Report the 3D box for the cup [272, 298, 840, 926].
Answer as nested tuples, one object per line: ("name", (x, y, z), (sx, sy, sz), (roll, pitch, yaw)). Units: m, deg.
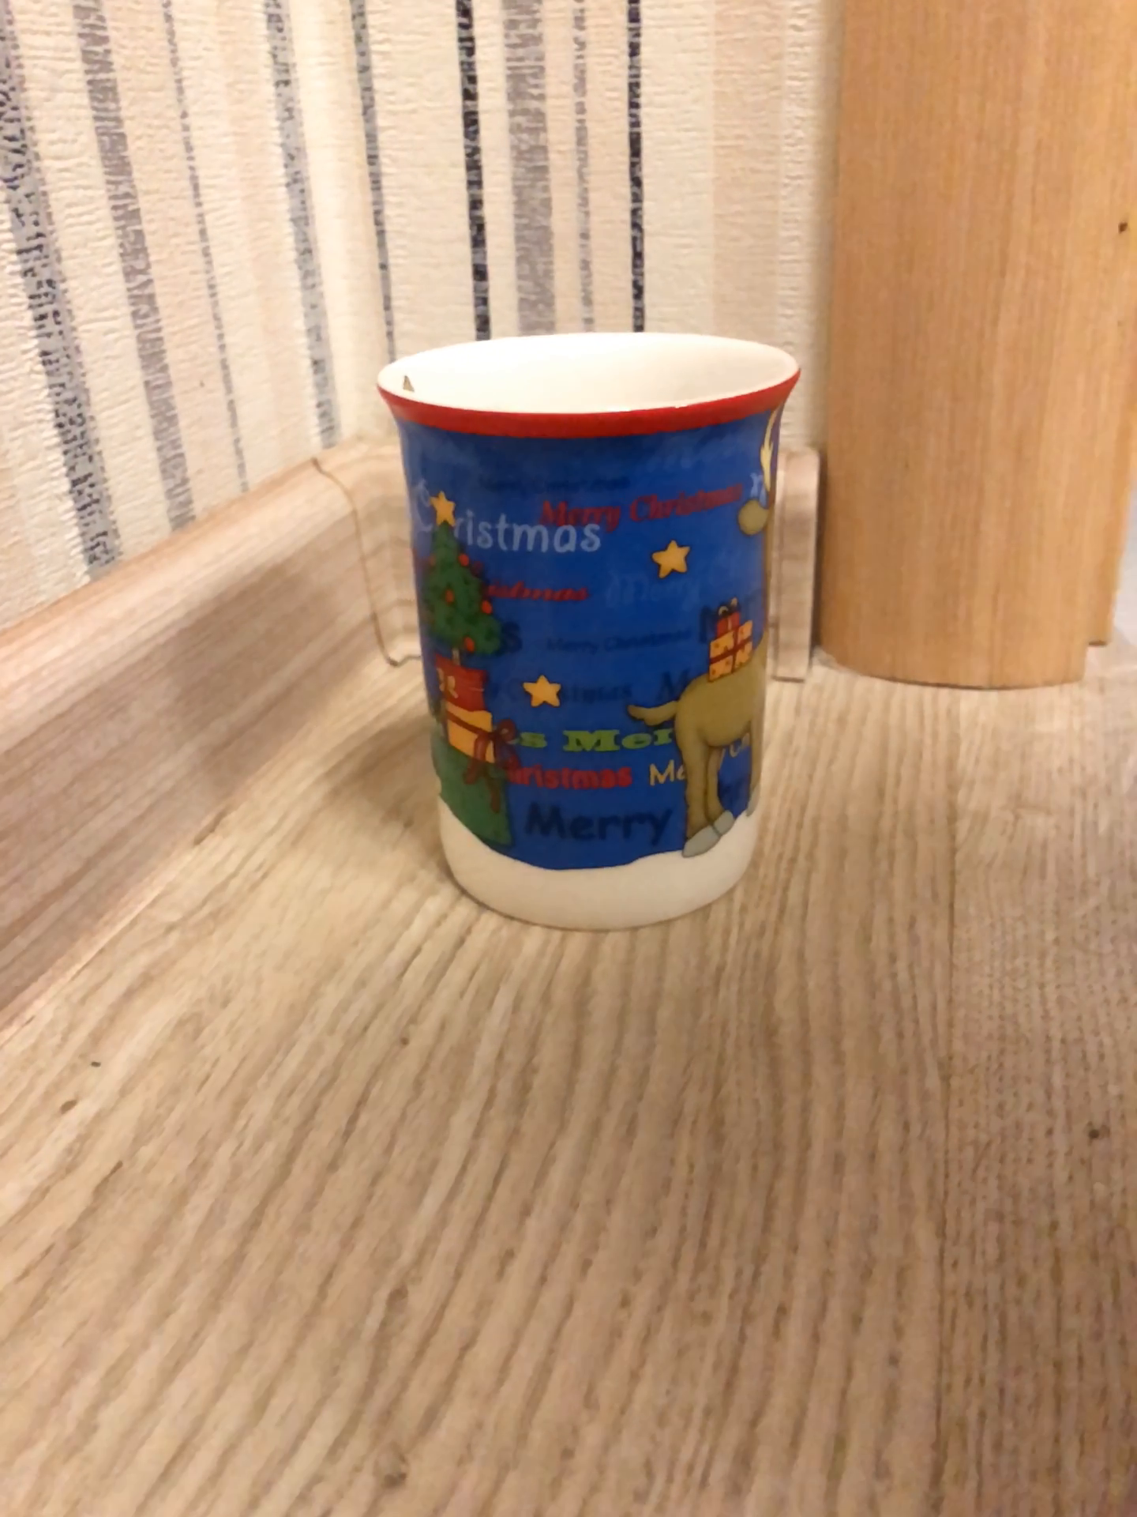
("cup", (0.003, -0.038, 0.268), (0.087, 0.094, 0.121), (0, 27, 4))
